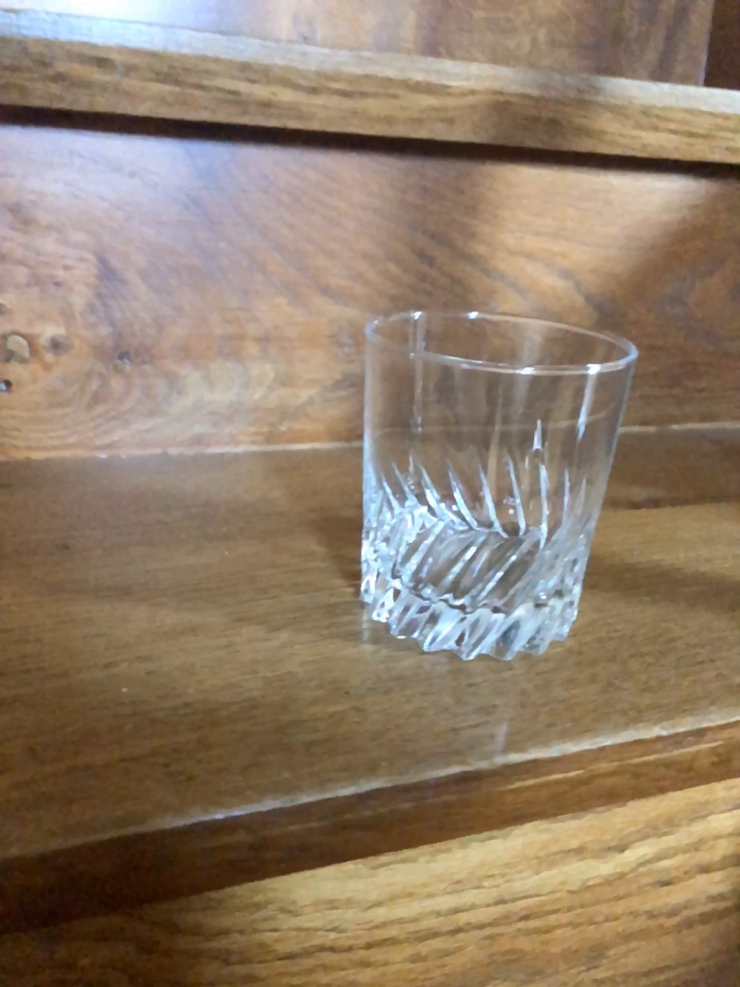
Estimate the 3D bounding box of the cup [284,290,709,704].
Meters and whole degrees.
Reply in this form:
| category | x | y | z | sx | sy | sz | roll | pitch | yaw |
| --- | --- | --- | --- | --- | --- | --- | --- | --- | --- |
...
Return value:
| category | x | y | z | sx | sy | sz | roll | pitch | yaw |
| --- | --- | --- | --- | --- | --- | --- | --- | --- | --- |
| cup | 0.038 | -0.010 | 0.260 | 0.090 | 0.090 | 0.091 | 3 | 21 | -1 |
